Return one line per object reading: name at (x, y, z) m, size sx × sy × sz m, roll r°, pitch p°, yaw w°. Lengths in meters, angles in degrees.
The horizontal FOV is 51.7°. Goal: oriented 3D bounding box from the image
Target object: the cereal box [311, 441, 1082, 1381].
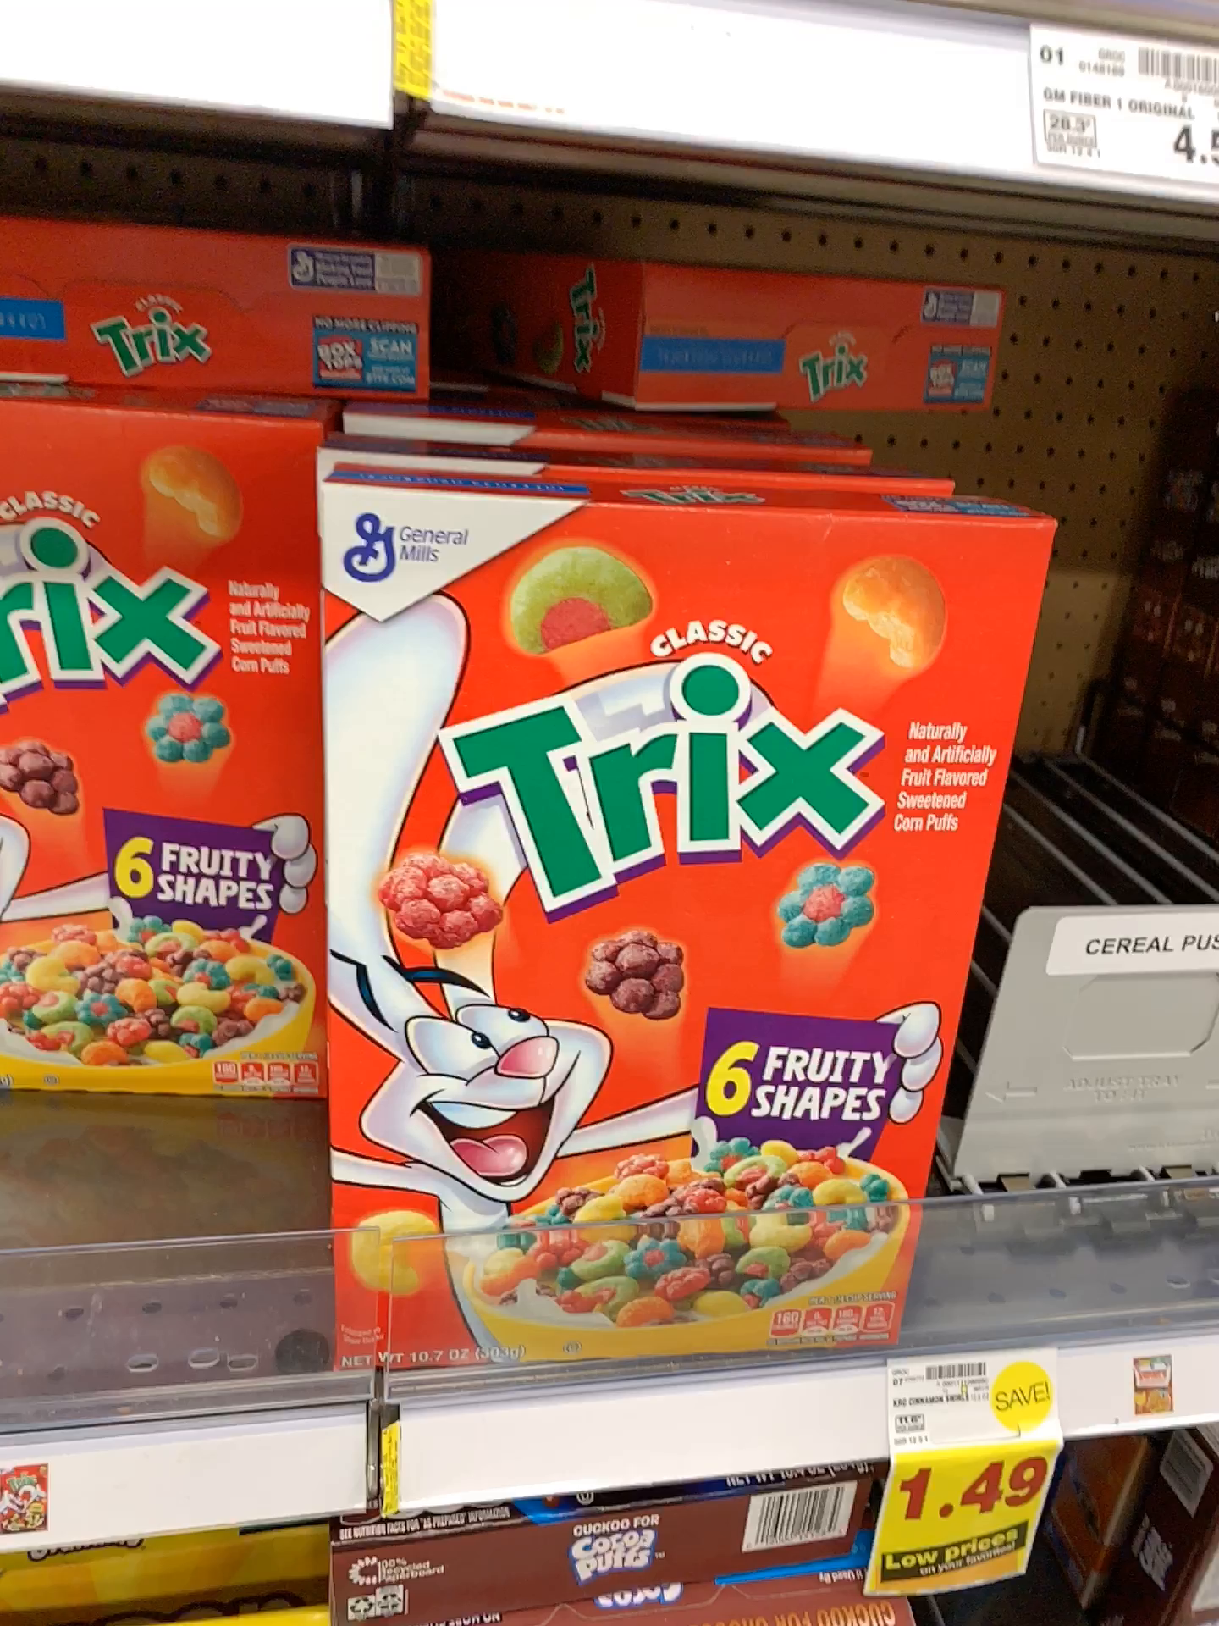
cereal box at (0.011, 0.041, 0.400) m, size 0.200 × 0.289 × 0.060 m, roll 1°, pitch 23°, yaw -10°
